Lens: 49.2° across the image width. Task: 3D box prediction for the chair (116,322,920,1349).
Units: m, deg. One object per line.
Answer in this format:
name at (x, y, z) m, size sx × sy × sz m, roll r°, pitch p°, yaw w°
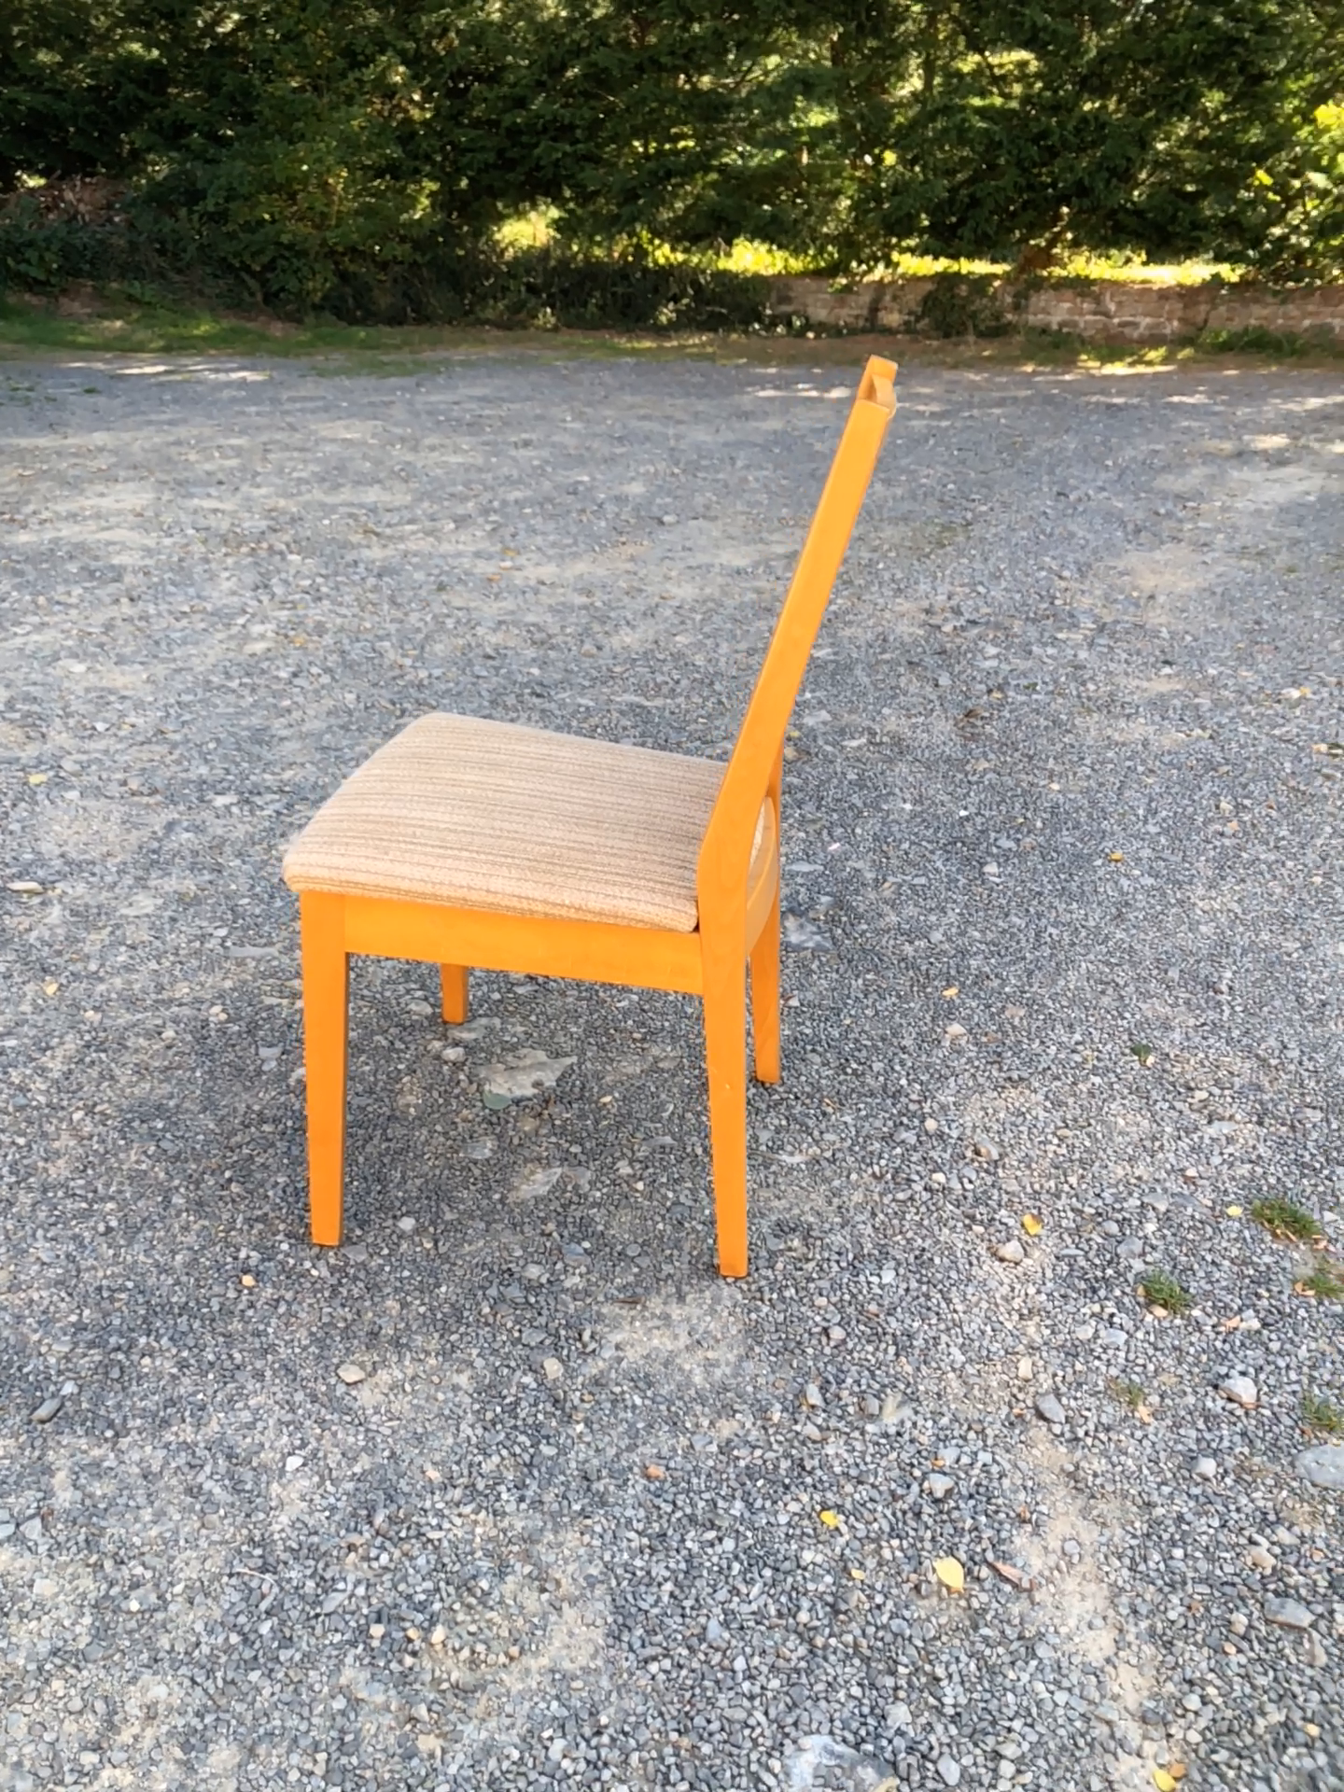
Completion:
chair at (-0.066, -0.100, 1.504) m, size 0.590 × 0.845 × 0.604 m, roll 3°, pitch 27°, yaw 8°
